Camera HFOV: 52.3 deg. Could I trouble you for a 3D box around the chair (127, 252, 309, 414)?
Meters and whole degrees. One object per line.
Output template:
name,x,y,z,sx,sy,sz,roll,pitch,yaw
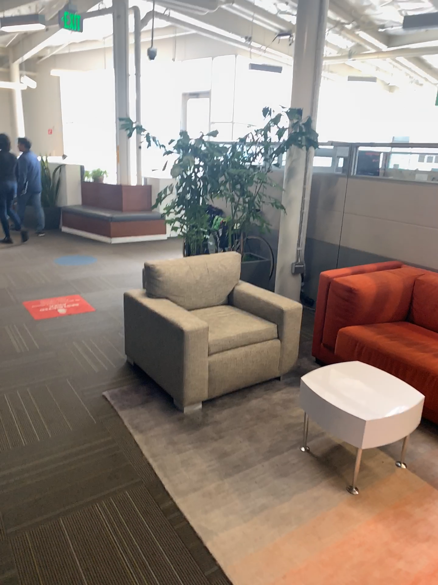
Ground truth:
chair,-0.040,0.197,3.154,0.921,0.727,0.873,-9,21,-34
